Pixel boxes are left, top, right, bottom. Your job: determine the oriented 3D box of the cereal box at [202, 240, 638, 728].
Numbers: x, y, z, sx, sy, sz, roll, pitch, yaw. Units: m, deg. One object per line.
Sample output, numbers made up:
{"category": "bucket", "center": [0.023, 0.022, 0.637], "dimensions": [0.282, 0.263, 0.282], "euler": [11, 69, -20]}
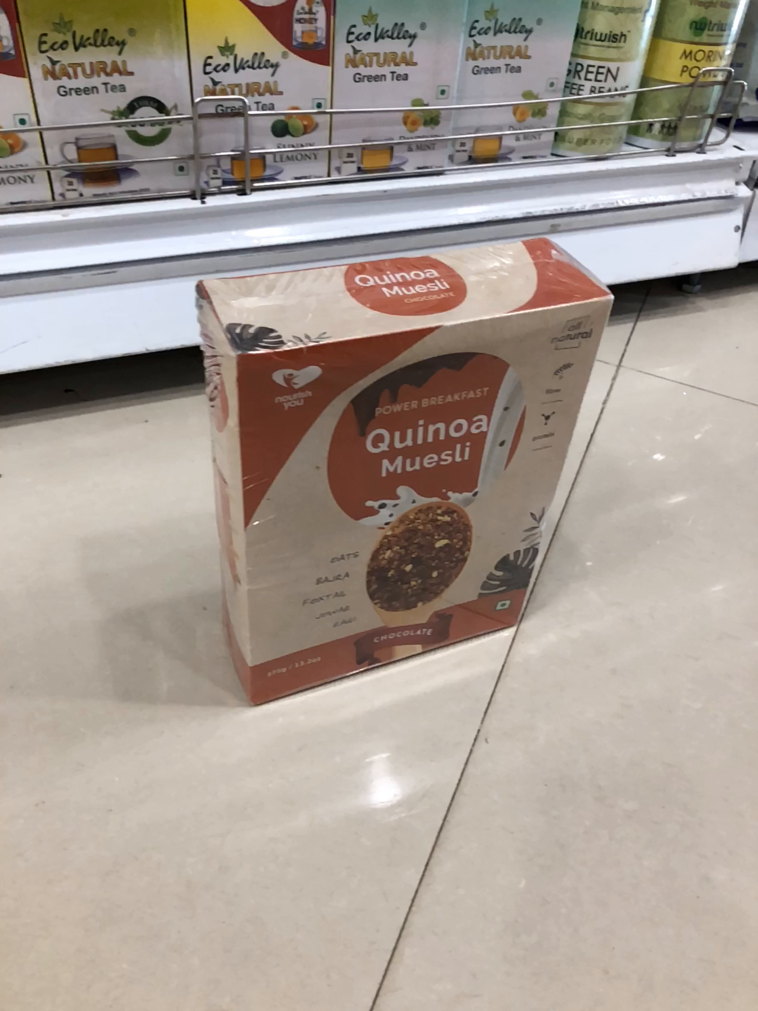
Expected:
{"category": "cereal box", "center": [0.008, -0.001, 0.390], "dimensions": [0.160, 0.219, 0.050], "euler": [-13, 47, -21]}
